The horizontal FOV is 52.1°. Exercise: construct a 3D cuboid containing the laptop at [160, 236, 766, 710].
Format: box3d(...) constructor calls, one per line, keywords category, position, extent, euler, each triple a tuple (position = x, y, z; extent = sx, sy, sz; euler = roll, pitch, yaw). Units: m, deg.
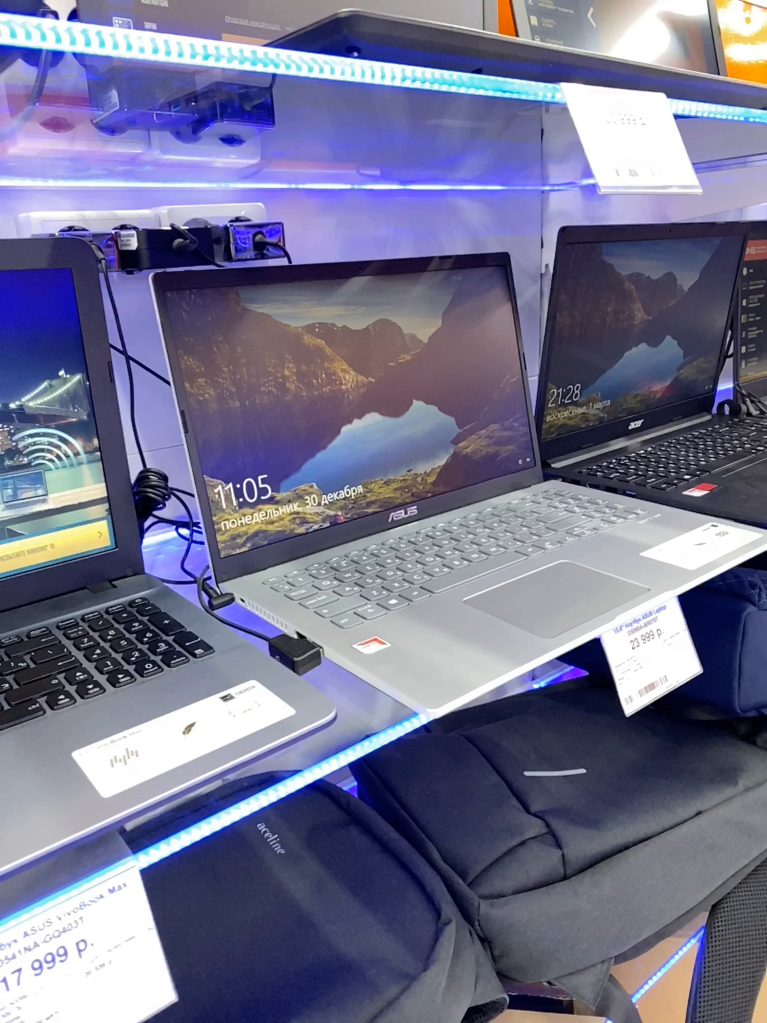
box3d(category="laptop", position=(0.076, -0.073, 0.574), extent=(0.360, 0.216, 0.286), euler=(-15, 21, -35))
